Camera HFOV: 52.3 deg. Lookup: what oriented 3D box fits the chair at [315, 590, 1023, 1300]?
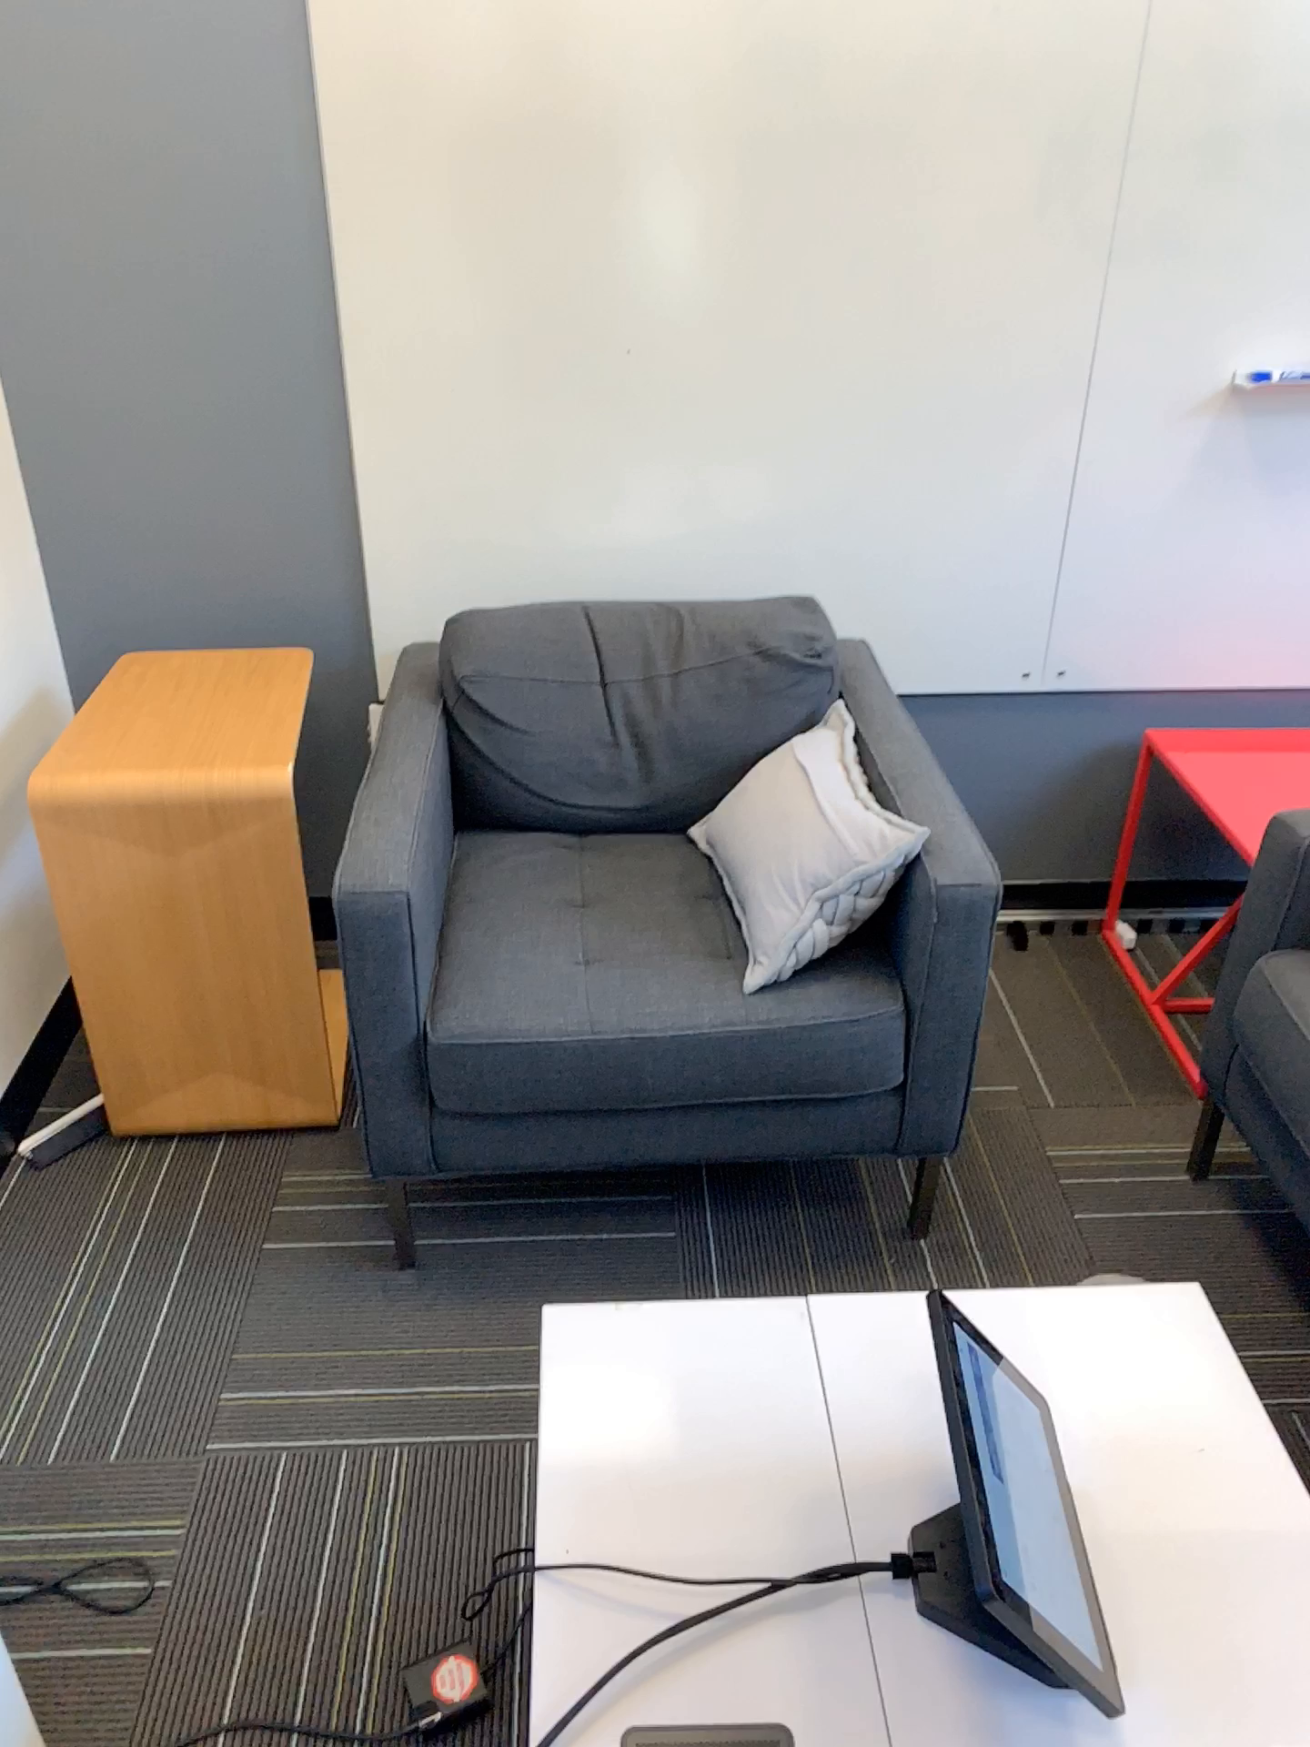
[{"bbox_3d":[-0.017,0.048,2.162,0.840,0.716,0.946,-2,31,-4],"label":"chair"}]
